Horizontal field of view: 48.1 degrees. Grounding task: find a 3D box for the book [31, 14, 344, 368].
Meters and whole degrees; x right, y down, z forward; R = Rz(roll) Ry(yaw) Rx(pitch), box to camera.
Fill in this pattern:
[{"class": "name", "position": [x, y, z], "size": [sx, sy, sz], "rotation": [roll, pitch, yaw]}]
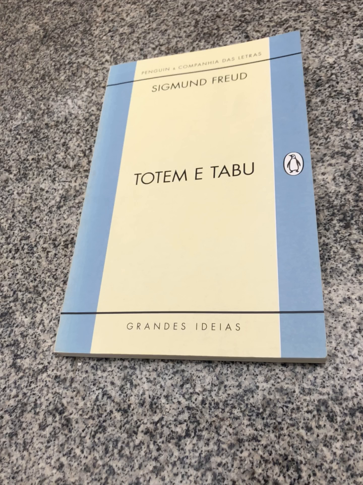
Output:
[{"class": "book", "position": [0.005, -0.038, 0.212], "size": [0.130, 0.015, 0.192], "rotation": [-2, 63, 15]}]
